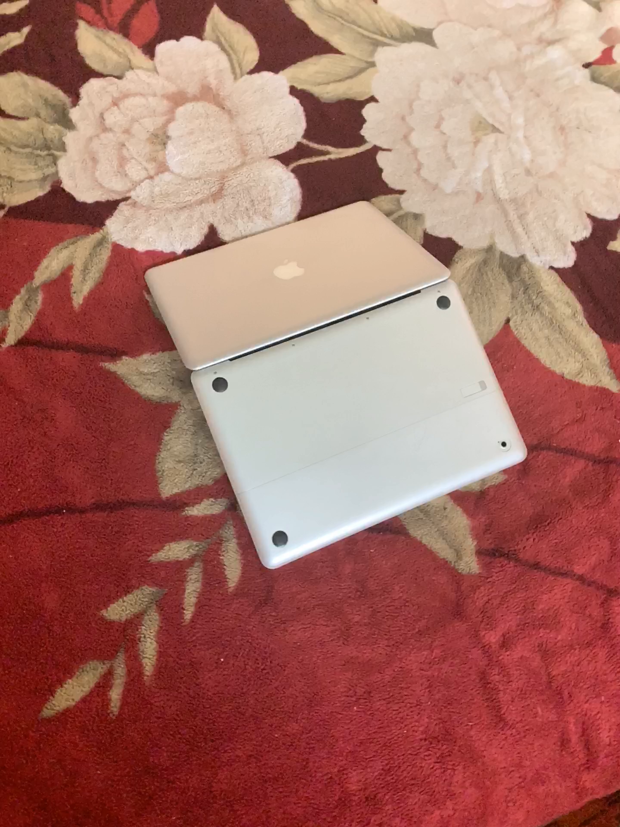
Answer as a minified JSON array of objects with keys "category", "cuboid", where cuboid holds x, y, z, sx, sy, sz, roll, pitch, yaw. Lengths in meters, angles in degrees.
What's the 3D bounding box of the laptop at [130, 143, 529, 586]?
[{"category":"laptop","cuboid":[0.026,-0.060,0.722,0.316,0.078,0.390,-21,84,-12]}]
